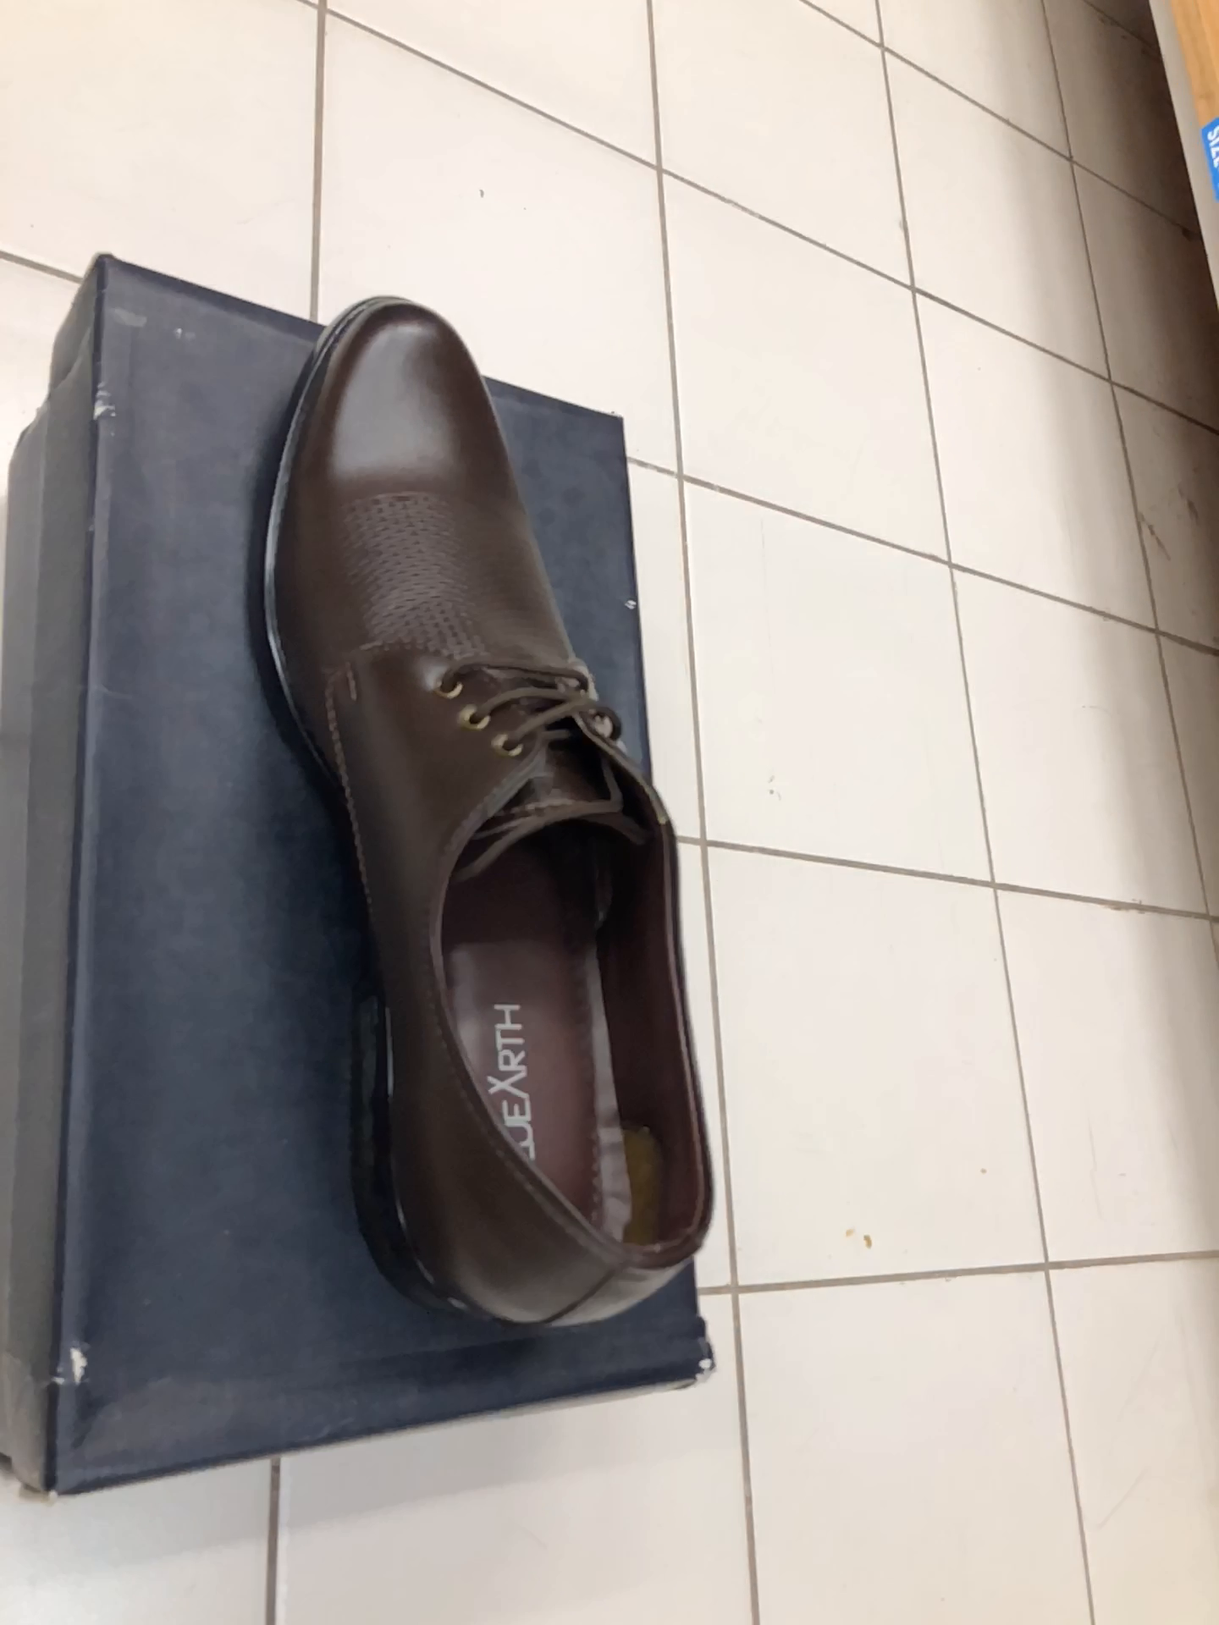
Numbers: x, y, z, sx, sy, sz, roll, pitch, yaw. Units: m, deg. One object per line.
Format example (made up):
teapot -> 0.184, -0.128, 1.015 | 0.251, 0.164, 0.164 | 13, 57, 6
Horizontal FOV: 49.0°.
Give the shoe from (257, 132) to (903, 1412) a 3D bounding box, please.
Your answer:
shoe -> -0.019, -0.011, 0.369 | 0.111, 0.099, 0.300 | 3, 72, -34
